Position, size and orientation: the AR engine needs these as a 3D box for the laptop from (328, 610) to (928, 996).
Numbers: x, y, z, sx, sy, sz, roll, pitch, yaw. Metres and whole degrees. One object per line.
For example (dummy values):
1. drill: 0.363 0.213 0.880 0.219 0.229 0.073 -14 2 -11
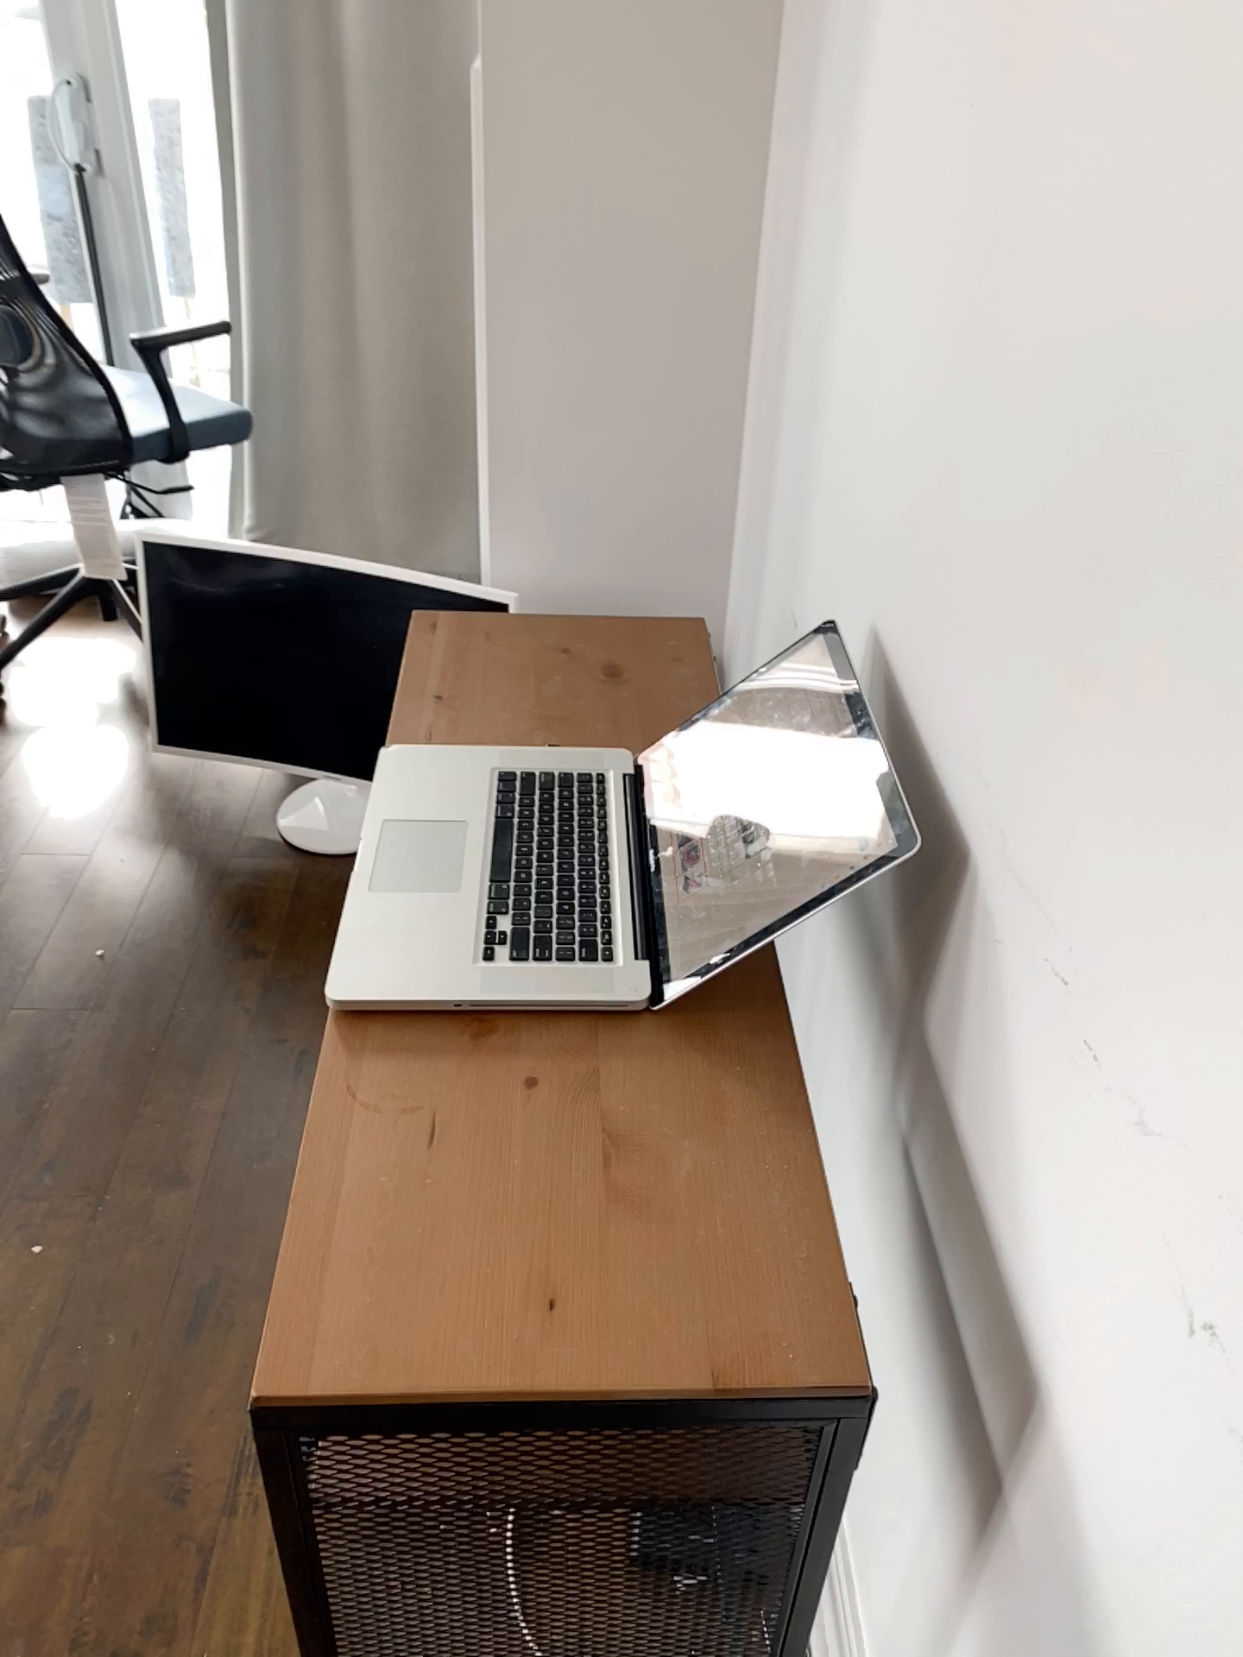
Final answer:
1. laptop: -0.003 -0.037 1.114 0.438 0.151 0.370 0 36 -3
